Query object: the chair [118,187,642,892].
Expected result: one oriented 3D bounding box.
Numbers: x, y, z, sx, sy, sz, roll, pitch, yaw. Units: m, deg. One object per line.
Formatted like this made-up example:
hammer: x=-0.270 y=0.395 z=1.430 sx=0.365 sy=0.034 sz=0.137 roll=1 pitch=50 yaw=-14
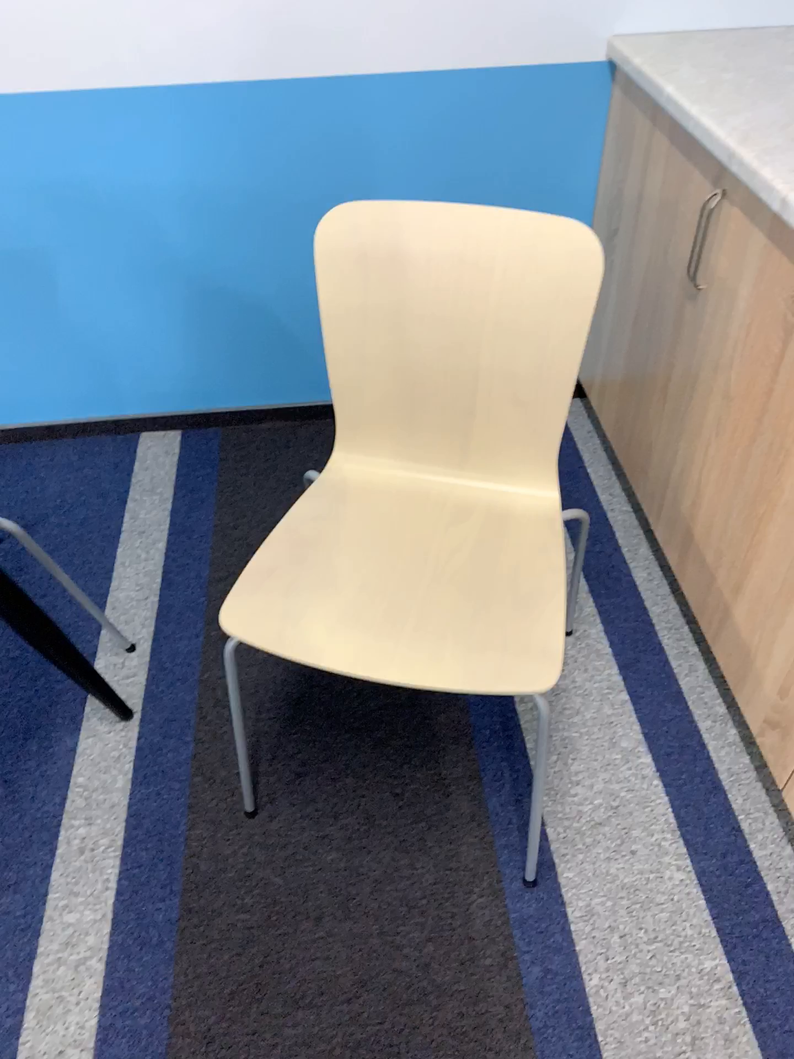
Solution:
chair: x=0.041 y=0.026 z=1.232 sx=0.476 sy=0.836 sz=0.573 roll=9 pitch=43 yaw=12
